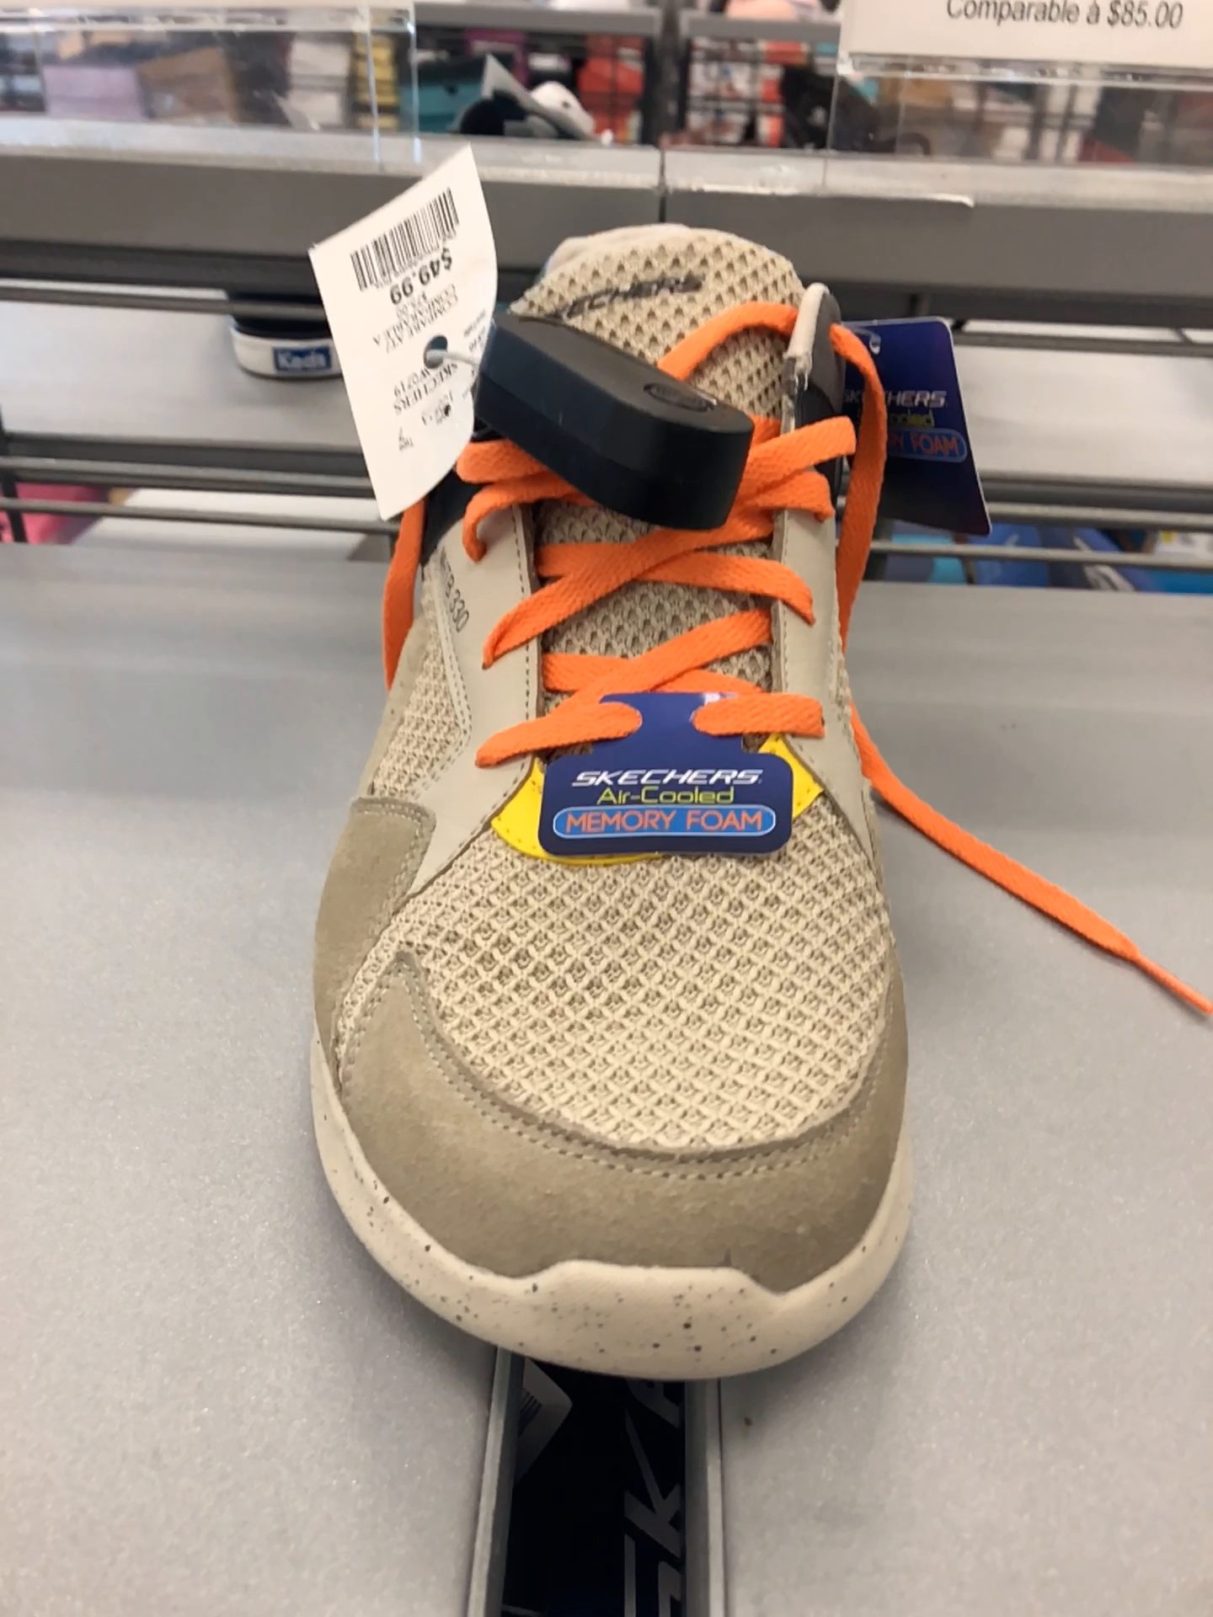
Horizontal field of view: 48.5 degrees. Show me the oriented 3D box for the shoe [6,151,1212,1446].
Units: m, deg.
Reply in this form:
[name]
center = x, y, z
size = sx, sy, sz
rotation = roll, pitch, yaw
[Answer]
[shoe]
center = -0.001, -0.037, 0.274
size = 0.125, 0.109, 0.282
rotation = 1, 39, -3
